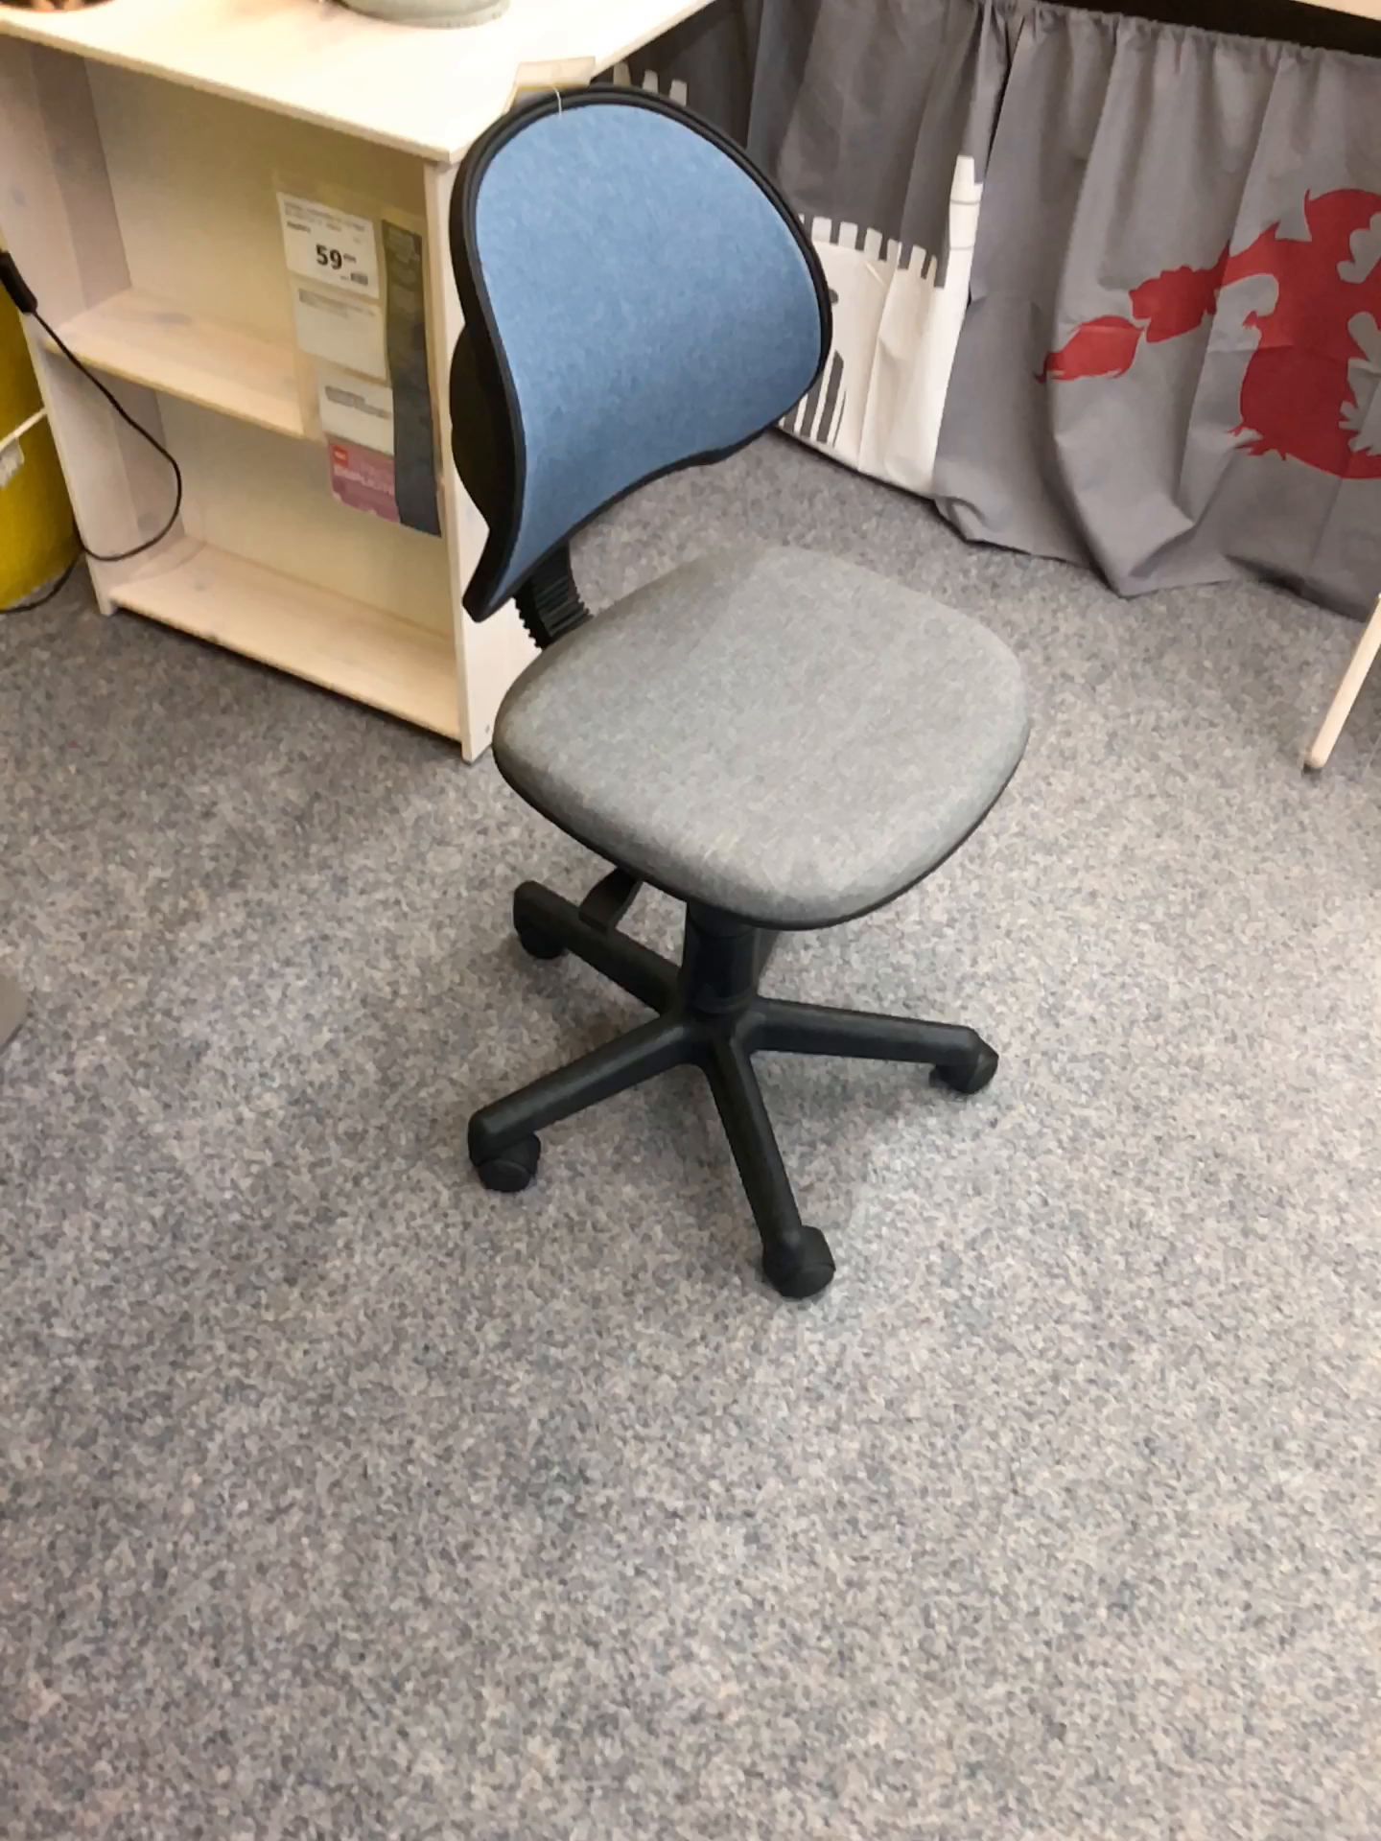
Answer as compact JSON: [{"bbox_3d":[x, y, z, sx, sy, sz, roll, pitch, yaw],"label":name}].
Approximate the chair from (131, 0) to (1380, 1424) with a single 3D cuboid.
[{"bbox_3d":[0.079,-0.170,1.153,0.560,0.746,0.604,27,50,19],"label":"chair"}]
